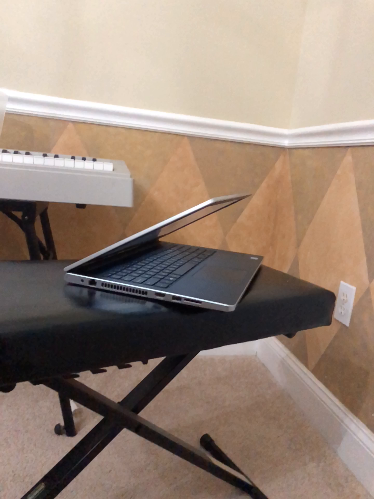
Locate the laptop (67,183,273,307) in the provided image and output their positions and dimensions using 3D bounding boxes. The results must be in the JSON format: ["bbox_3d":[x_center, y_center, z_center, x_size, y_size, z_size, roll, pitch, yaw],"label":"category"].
[{"bbox_3d":[0.004,-0.038,0.754,0.256,0.132,0.377,10,12,14],"label":"laptop"}]
